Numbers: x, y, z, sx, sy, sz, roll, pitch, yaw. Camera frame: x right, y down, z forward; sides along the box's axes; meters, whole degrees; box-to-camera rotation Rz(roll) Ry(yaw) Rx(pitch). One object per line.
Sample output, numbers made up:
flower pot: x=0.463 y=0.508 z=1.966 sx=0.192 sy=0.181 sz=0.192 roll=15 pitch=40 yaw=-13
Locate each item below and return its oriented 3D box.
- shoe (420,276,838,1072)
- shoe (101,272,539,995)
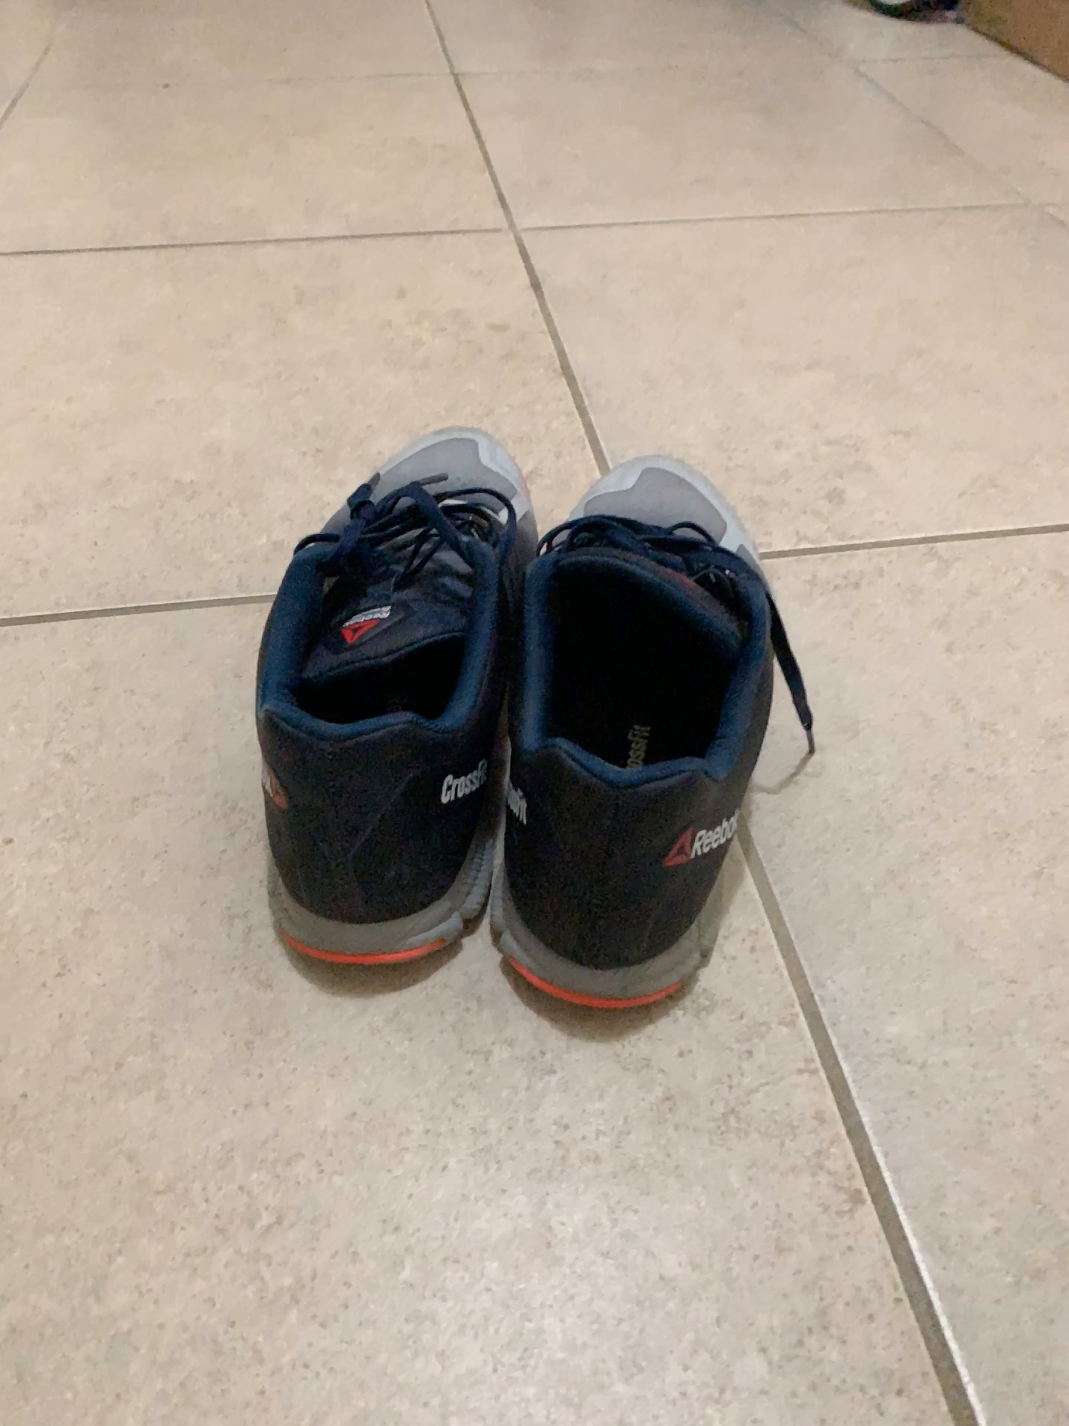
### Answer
shoe: x=0.050 y=-0.042 z=0.443 sx=0.109 sy=0.133 sz=0.317 roll=7 pitch=44 yaw=7
shoe: x=-0.058 y=-0.055 z=0.448 sx=0.104 sy=0.121 sz=0.307 roll=2 pitch=44 yaw=2
